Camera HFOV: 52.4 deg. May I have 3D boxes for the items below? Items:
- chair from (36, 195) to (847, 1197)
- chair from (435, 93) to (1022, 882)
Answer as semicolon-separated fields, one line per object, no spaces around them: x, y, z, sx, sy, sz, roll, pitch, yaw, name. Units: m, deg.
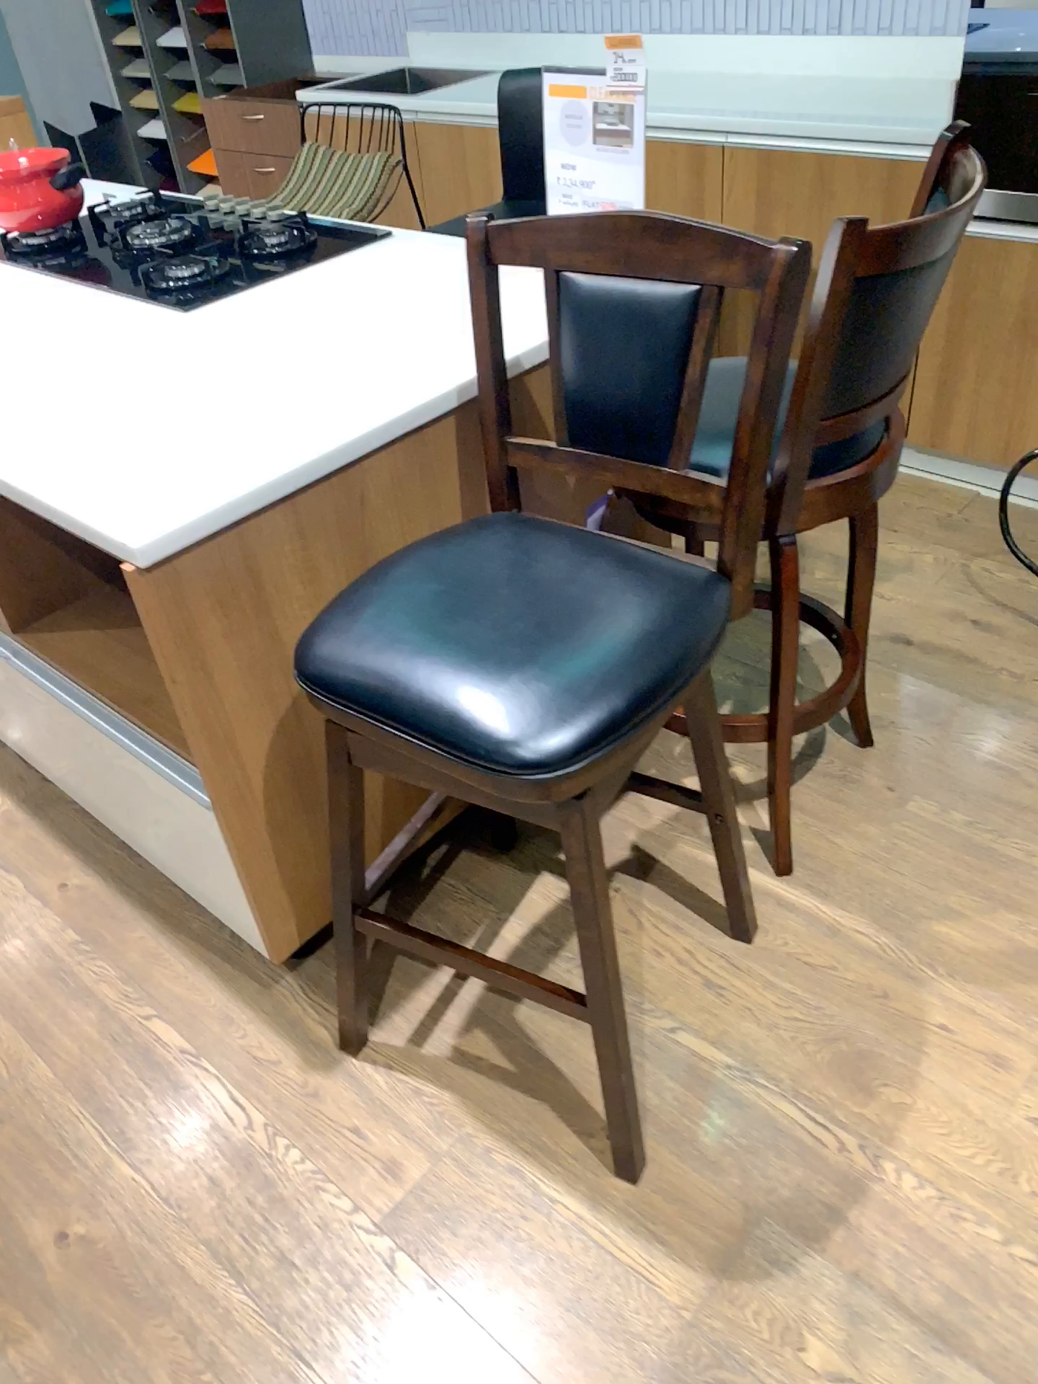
-0.003;0.003;1.339;0.581;1.026;0.571;15;42;26;chair
0.329;-0.333;1.713;0.571;1.026;0.551;22;46;32;chair
